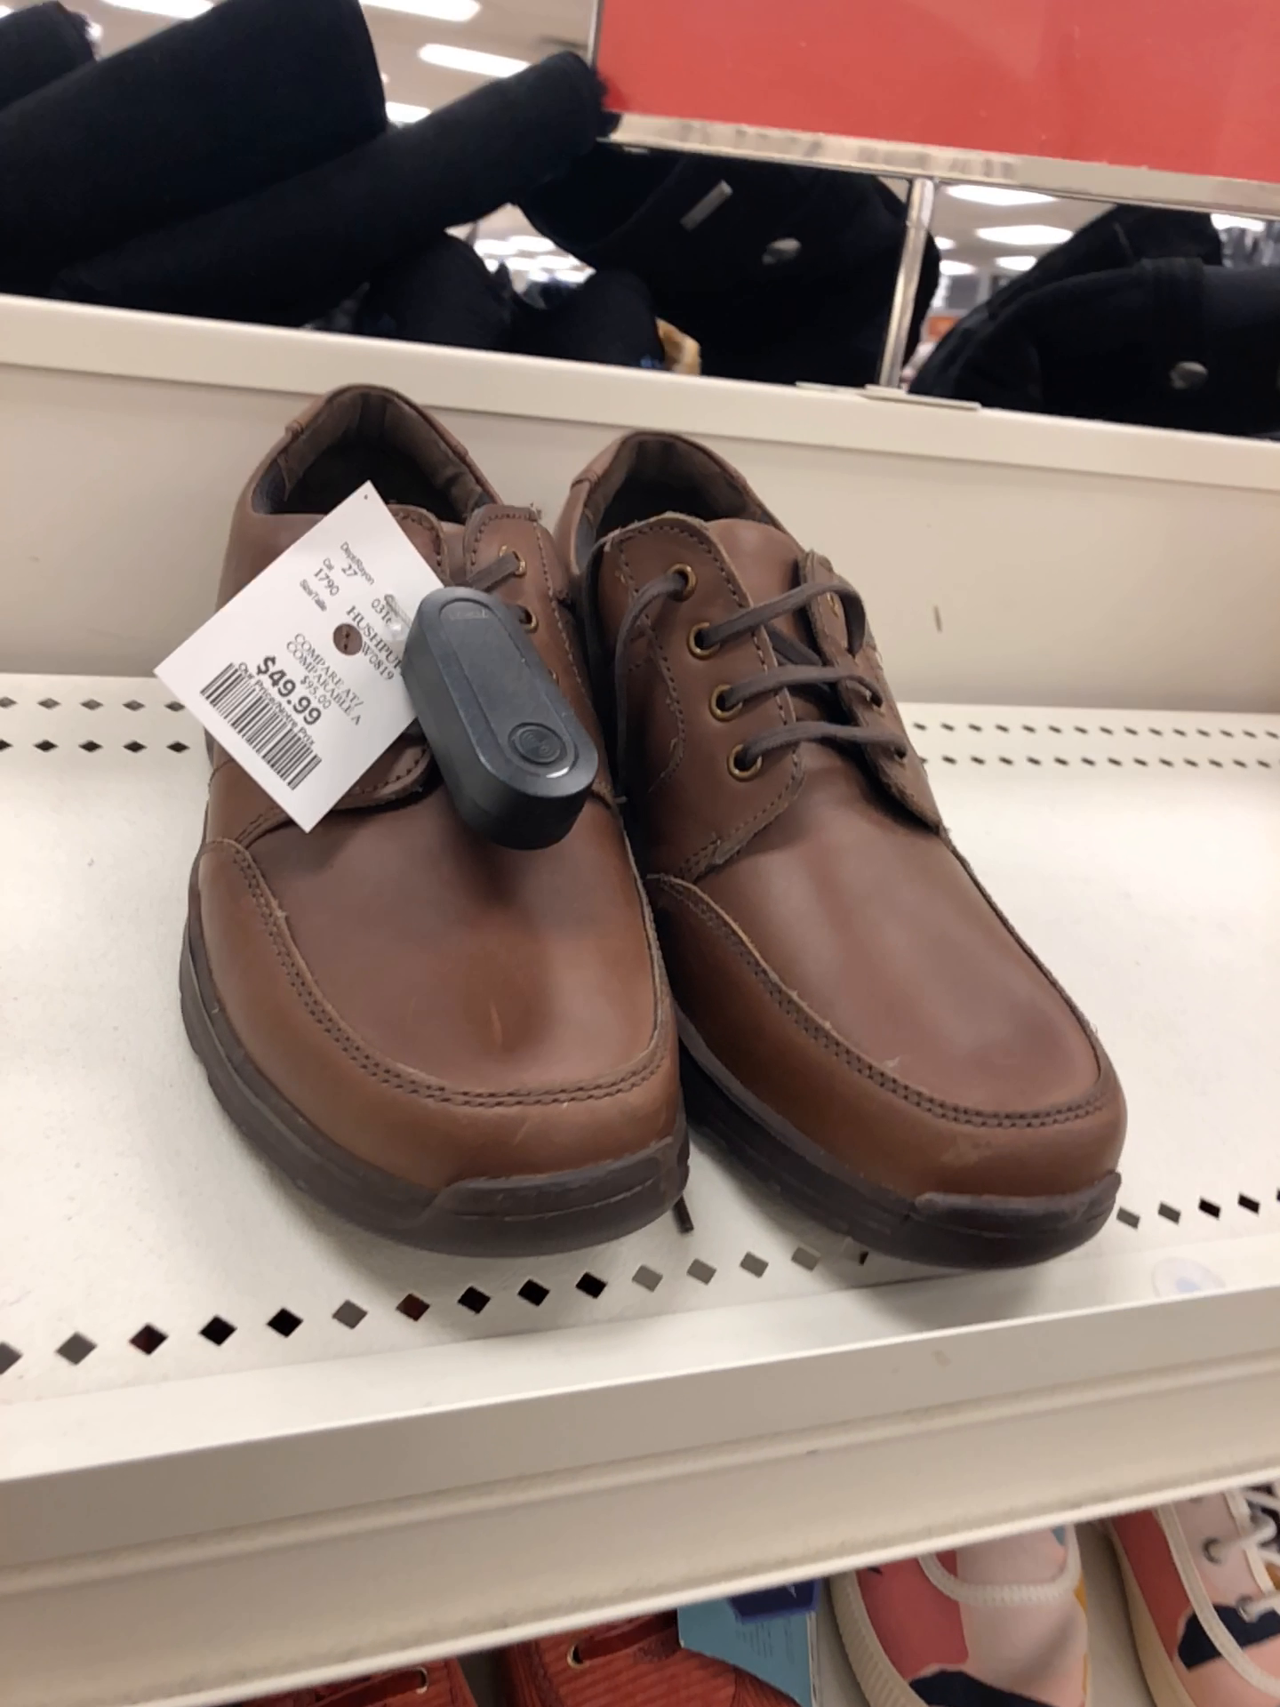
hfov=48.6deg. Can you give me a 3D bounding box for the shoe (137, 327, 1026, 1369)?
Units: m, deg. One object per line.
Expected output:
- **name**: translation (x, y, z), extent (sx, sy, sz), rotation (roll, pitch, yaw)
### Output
- **shoe**: translation (-0.058, -0.044, 0.362), extent (0.120, 0.109, 0.332), rotation (-1, 28, -21)

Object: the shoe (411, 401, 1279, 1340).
- **shoe**: translation (0.041, -0.038, 0.395), extent (0.120, 0.109, 0.342), rotation (-2, 25, -24)
